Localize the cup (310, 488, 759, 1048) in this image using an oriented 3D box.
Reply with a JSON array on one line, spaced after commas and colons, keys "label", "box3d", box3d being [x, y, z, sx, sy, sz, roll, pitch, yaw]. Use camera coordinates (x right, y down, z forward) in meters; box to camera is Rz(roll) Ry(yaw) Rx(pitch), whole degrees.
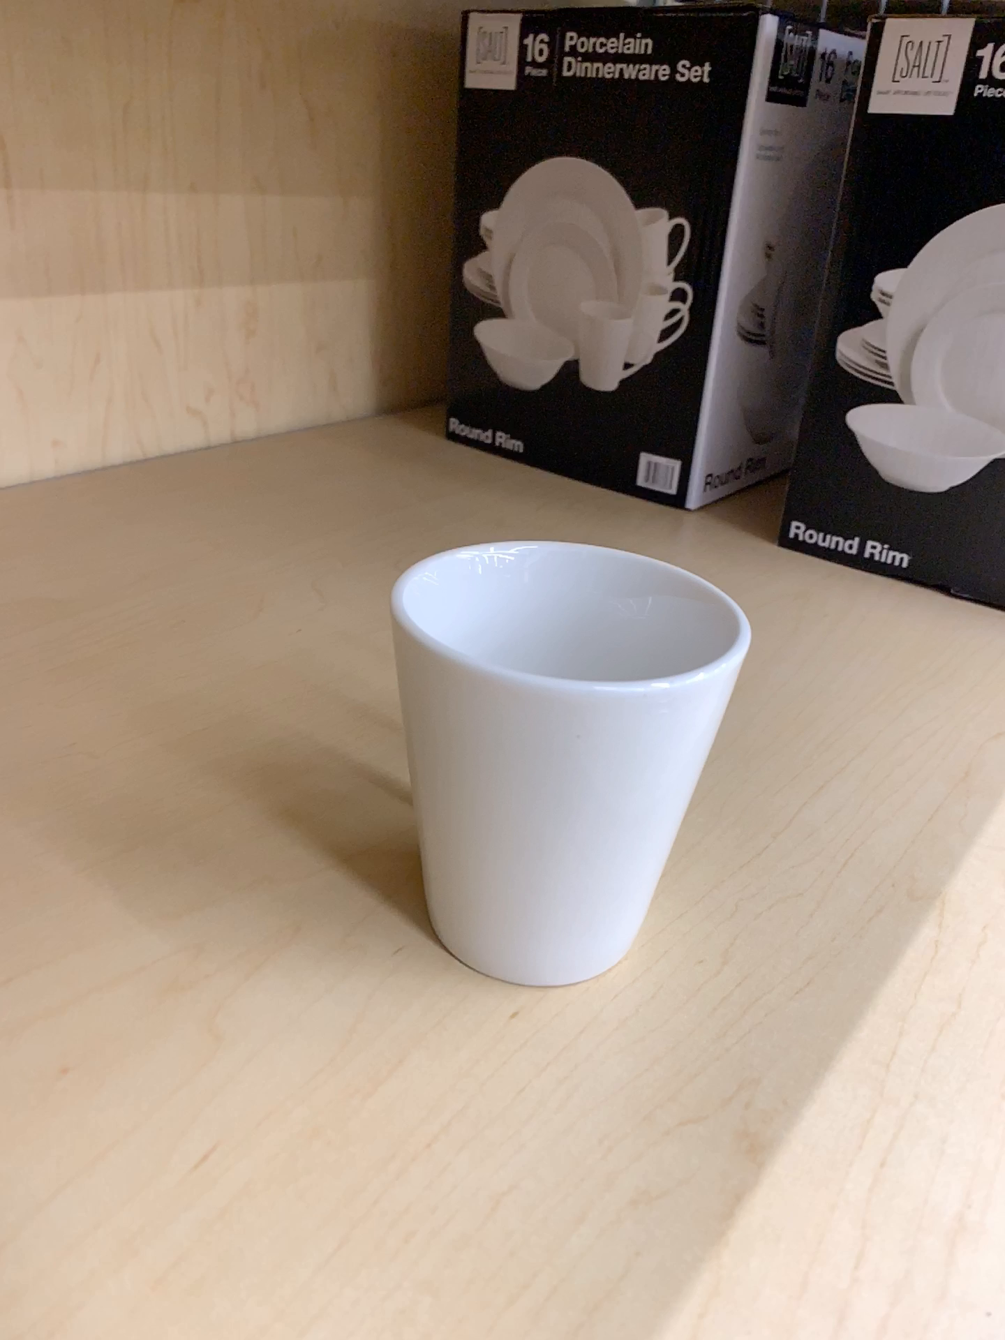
[{"label": "cup", "box3d": [0.016, 0.017, 0.301, 0.093, 0.090, 0.129, 13, 27, 8]}]
